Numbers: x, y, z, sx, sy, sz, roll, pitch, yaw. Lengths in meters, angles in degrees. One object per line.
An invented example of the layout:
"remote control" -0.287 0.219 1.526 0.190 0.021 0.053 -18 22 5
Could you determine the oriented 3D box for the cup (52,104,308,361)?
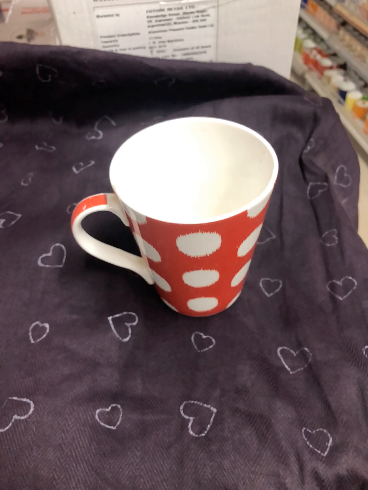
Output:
"cup" -0.008 -0.009 0.251 0.110 0.099 0.091 -13 48 -13
